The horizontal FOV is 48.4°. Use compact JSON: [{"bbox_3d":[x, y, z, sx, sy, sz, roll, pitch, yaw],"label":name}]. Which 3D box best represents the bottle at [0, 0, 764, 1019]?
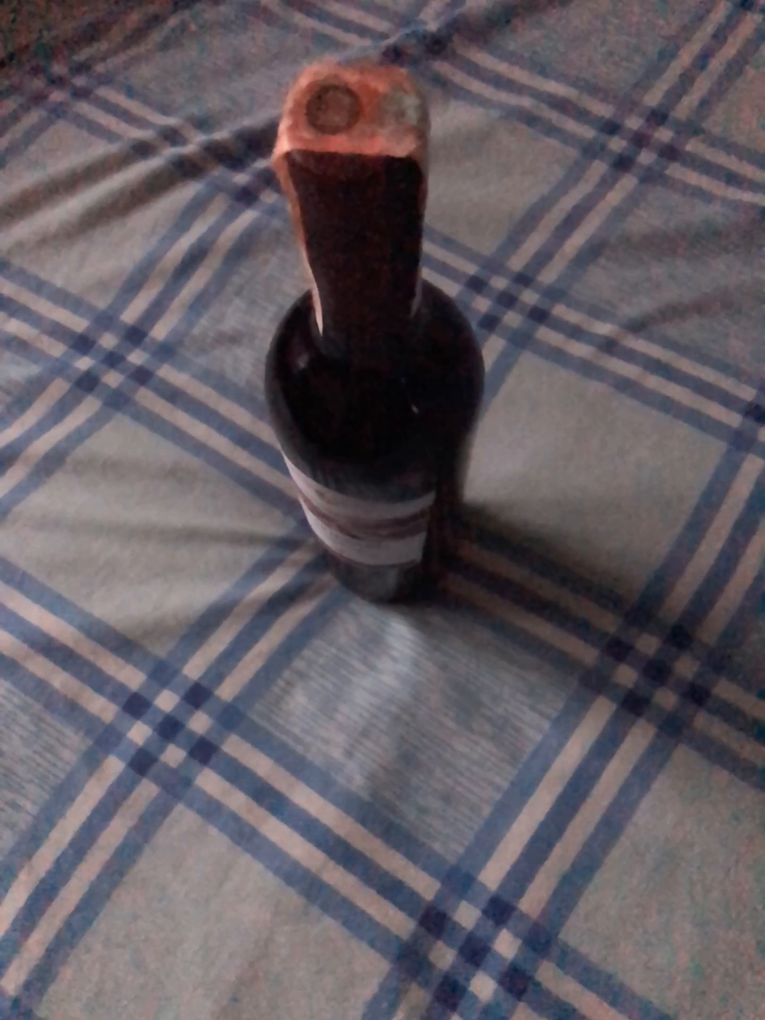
[{"bbox_3d":[-0.021,0.047,0.196,0.070,0.306,0.081,-29,69,-9],"label":"bottle"}]
